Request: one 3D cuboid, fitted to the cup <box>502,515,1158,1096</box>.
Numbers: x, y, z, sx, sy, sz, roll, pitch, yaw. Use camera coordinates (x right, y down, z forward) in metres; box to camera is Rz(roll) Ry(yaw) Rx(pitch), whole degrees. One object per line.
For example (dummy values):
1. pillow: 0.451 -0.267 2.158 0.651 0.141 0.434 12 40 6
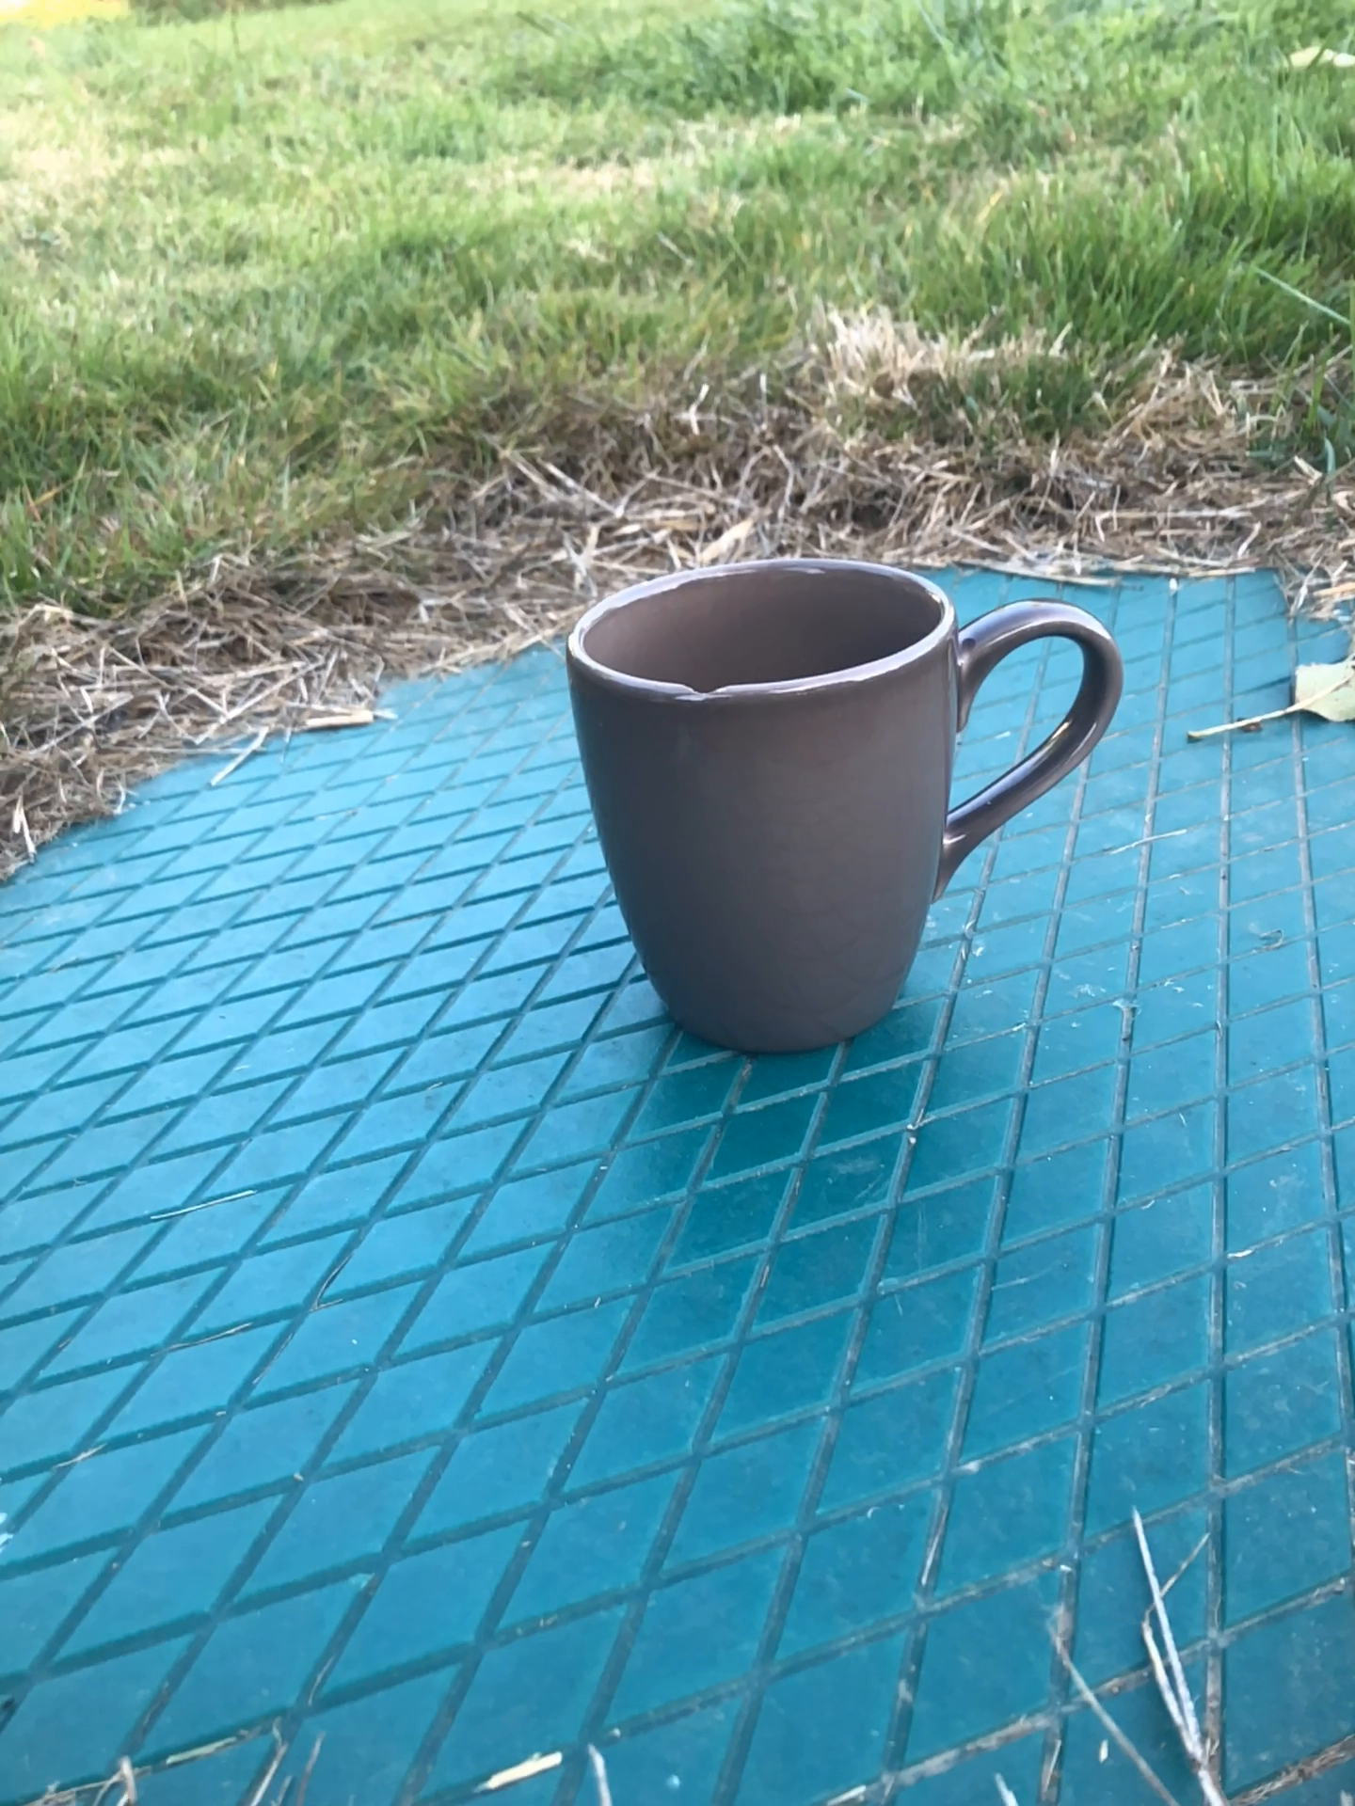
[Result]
1. cup: 0.032 -0.028 0.355 0.126 0.086 0.091 -11 30 -7
